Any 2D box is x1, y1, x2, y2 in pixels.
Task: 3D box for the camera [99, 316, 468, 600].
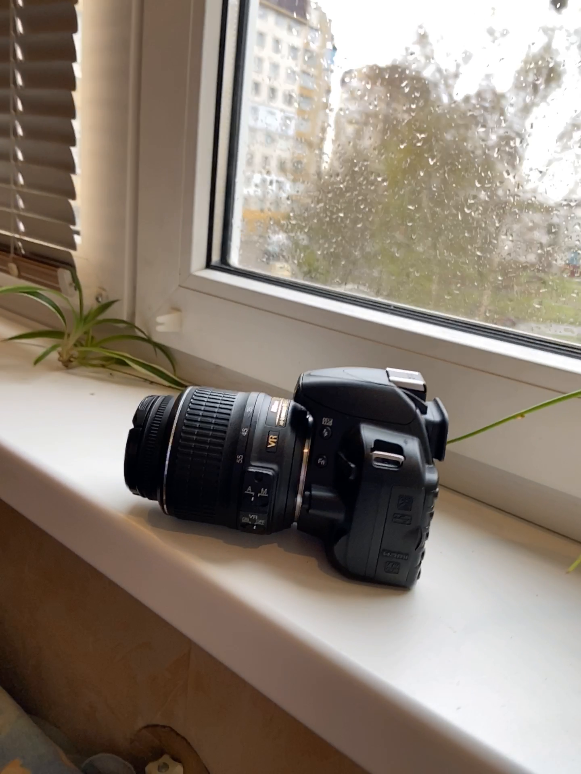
[{"bbox_3d":[-0.004,0.028,0.330,0.159,0.092,0.122,8,18,2],"label":"camera"}]
